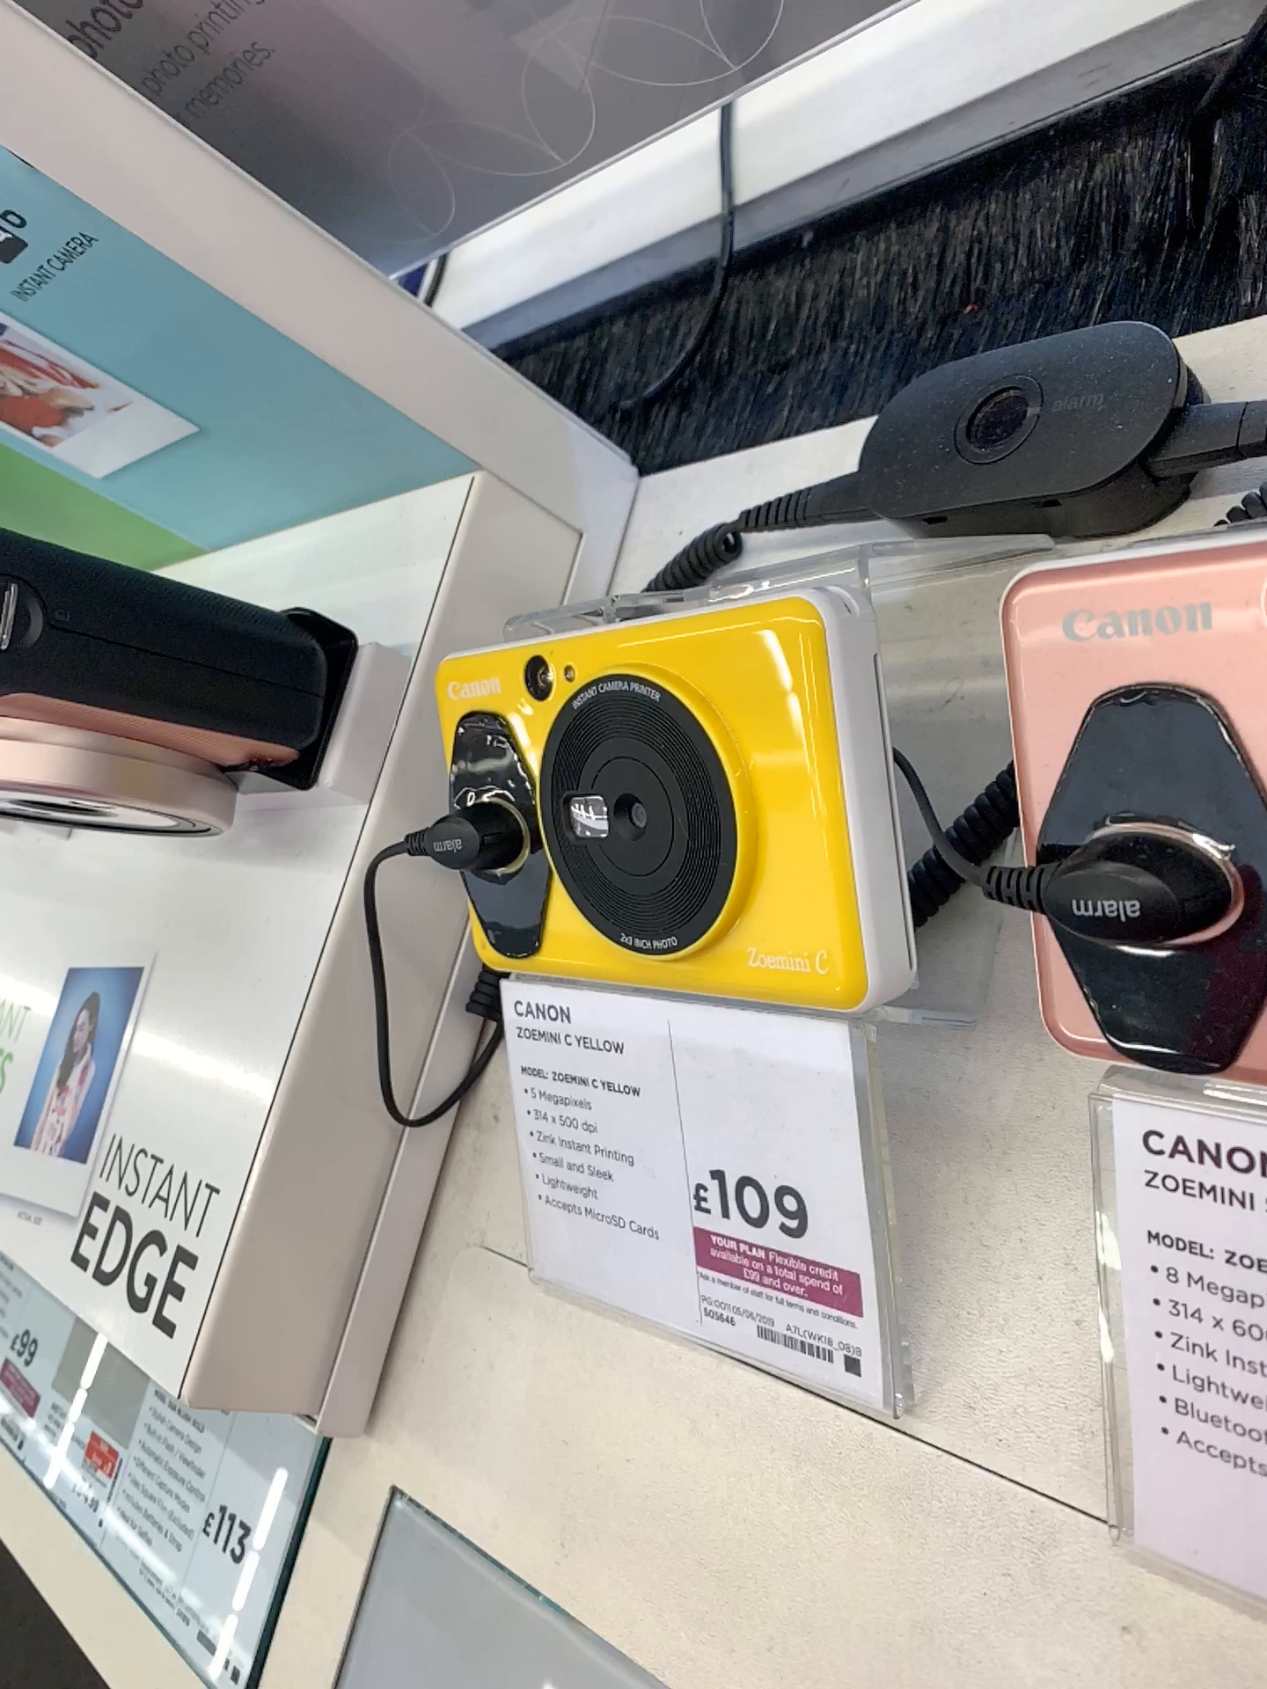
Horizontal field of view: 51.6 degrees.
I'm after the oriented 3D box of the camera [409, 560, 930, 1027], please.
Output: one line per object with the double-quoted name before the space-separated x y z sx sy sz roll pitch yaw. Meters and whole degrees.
"camera" 0.001 -0.009 0.276 0.121 0.020 0.080 0 101 47
